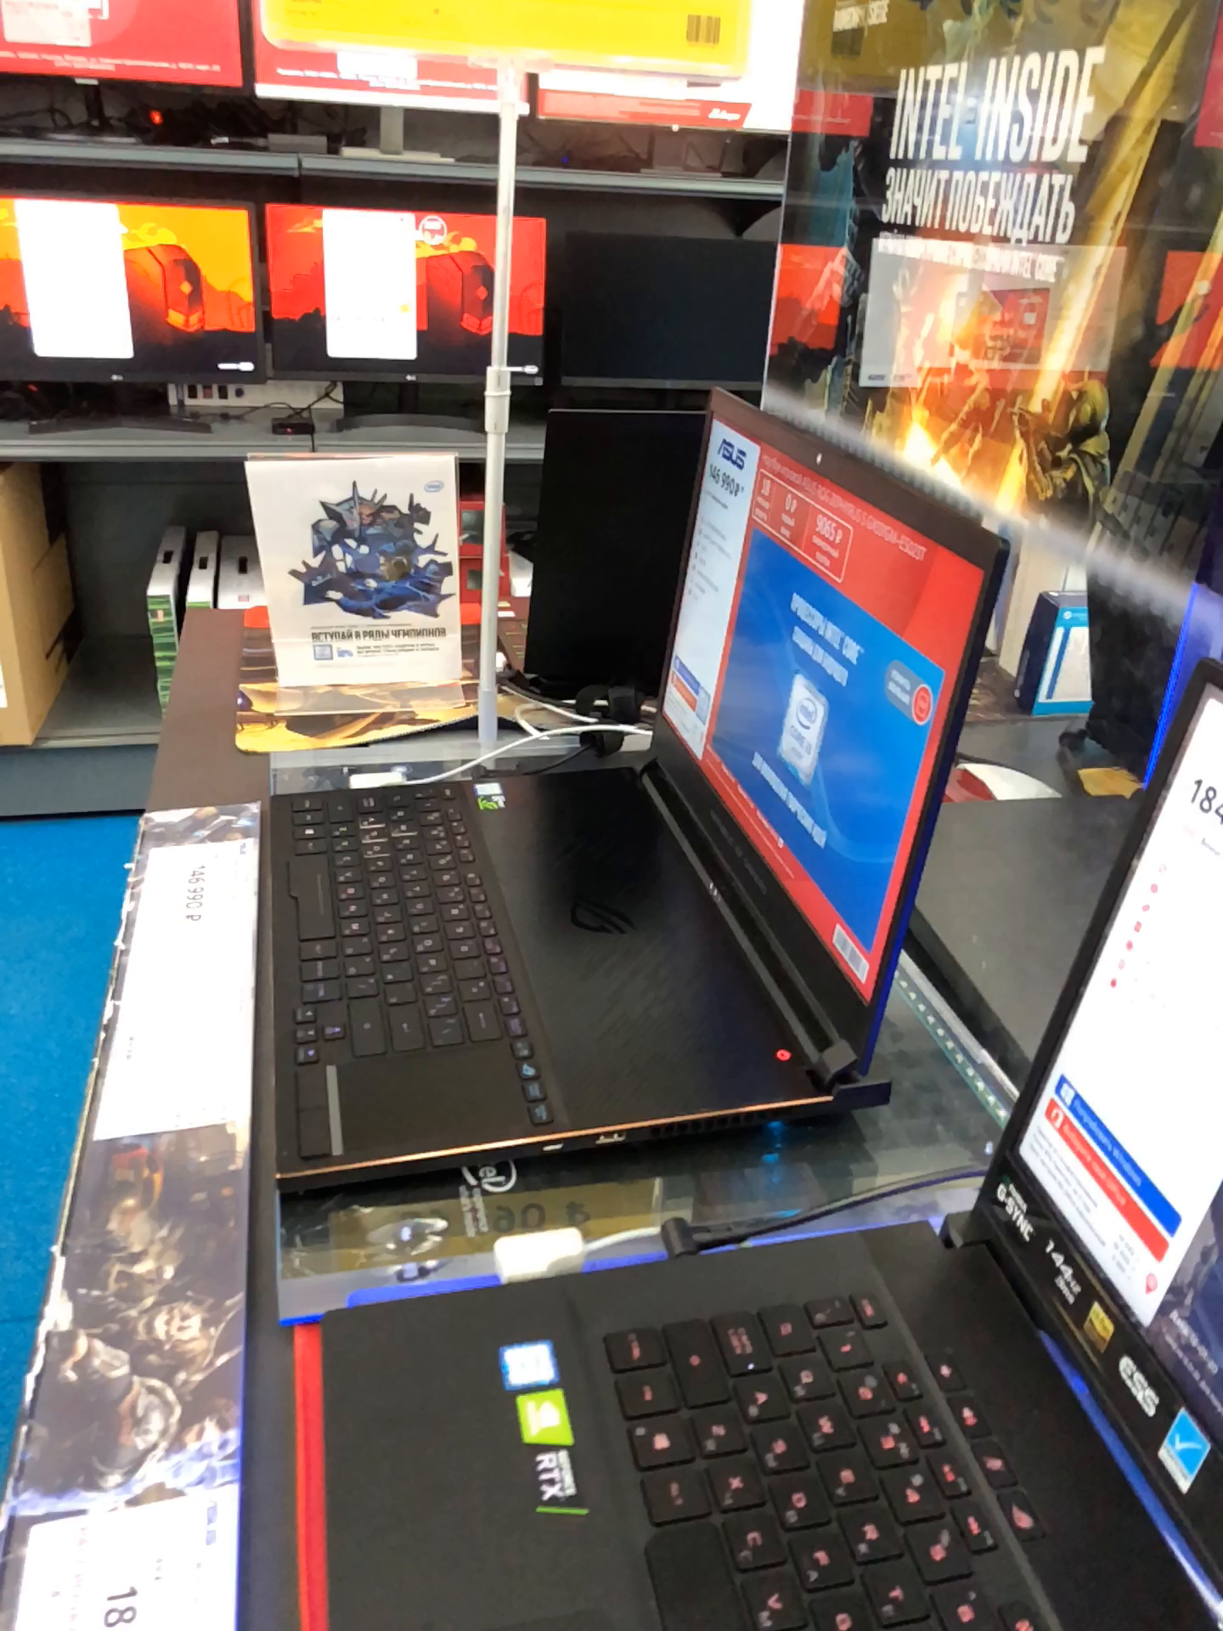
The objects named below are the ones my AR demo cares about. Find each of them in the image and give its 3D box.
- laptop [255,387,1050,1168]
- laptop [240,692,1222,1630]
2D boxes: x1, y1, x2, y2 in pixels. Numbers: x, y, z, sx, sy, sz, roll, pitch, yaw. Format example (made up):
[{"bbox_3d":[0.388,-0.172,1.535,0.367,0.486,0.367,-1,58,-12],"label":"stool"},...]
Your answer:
[{"bbox_3d":[-0.022,-0.056,0.659,0.278,0.241,0.351,-4,27,-12],"label":"laptop"},{"bbox_3d":[0.090,0.140,0.294,0.301,0.219,0.343,-3,26,-9],"label":"laptop"}]
